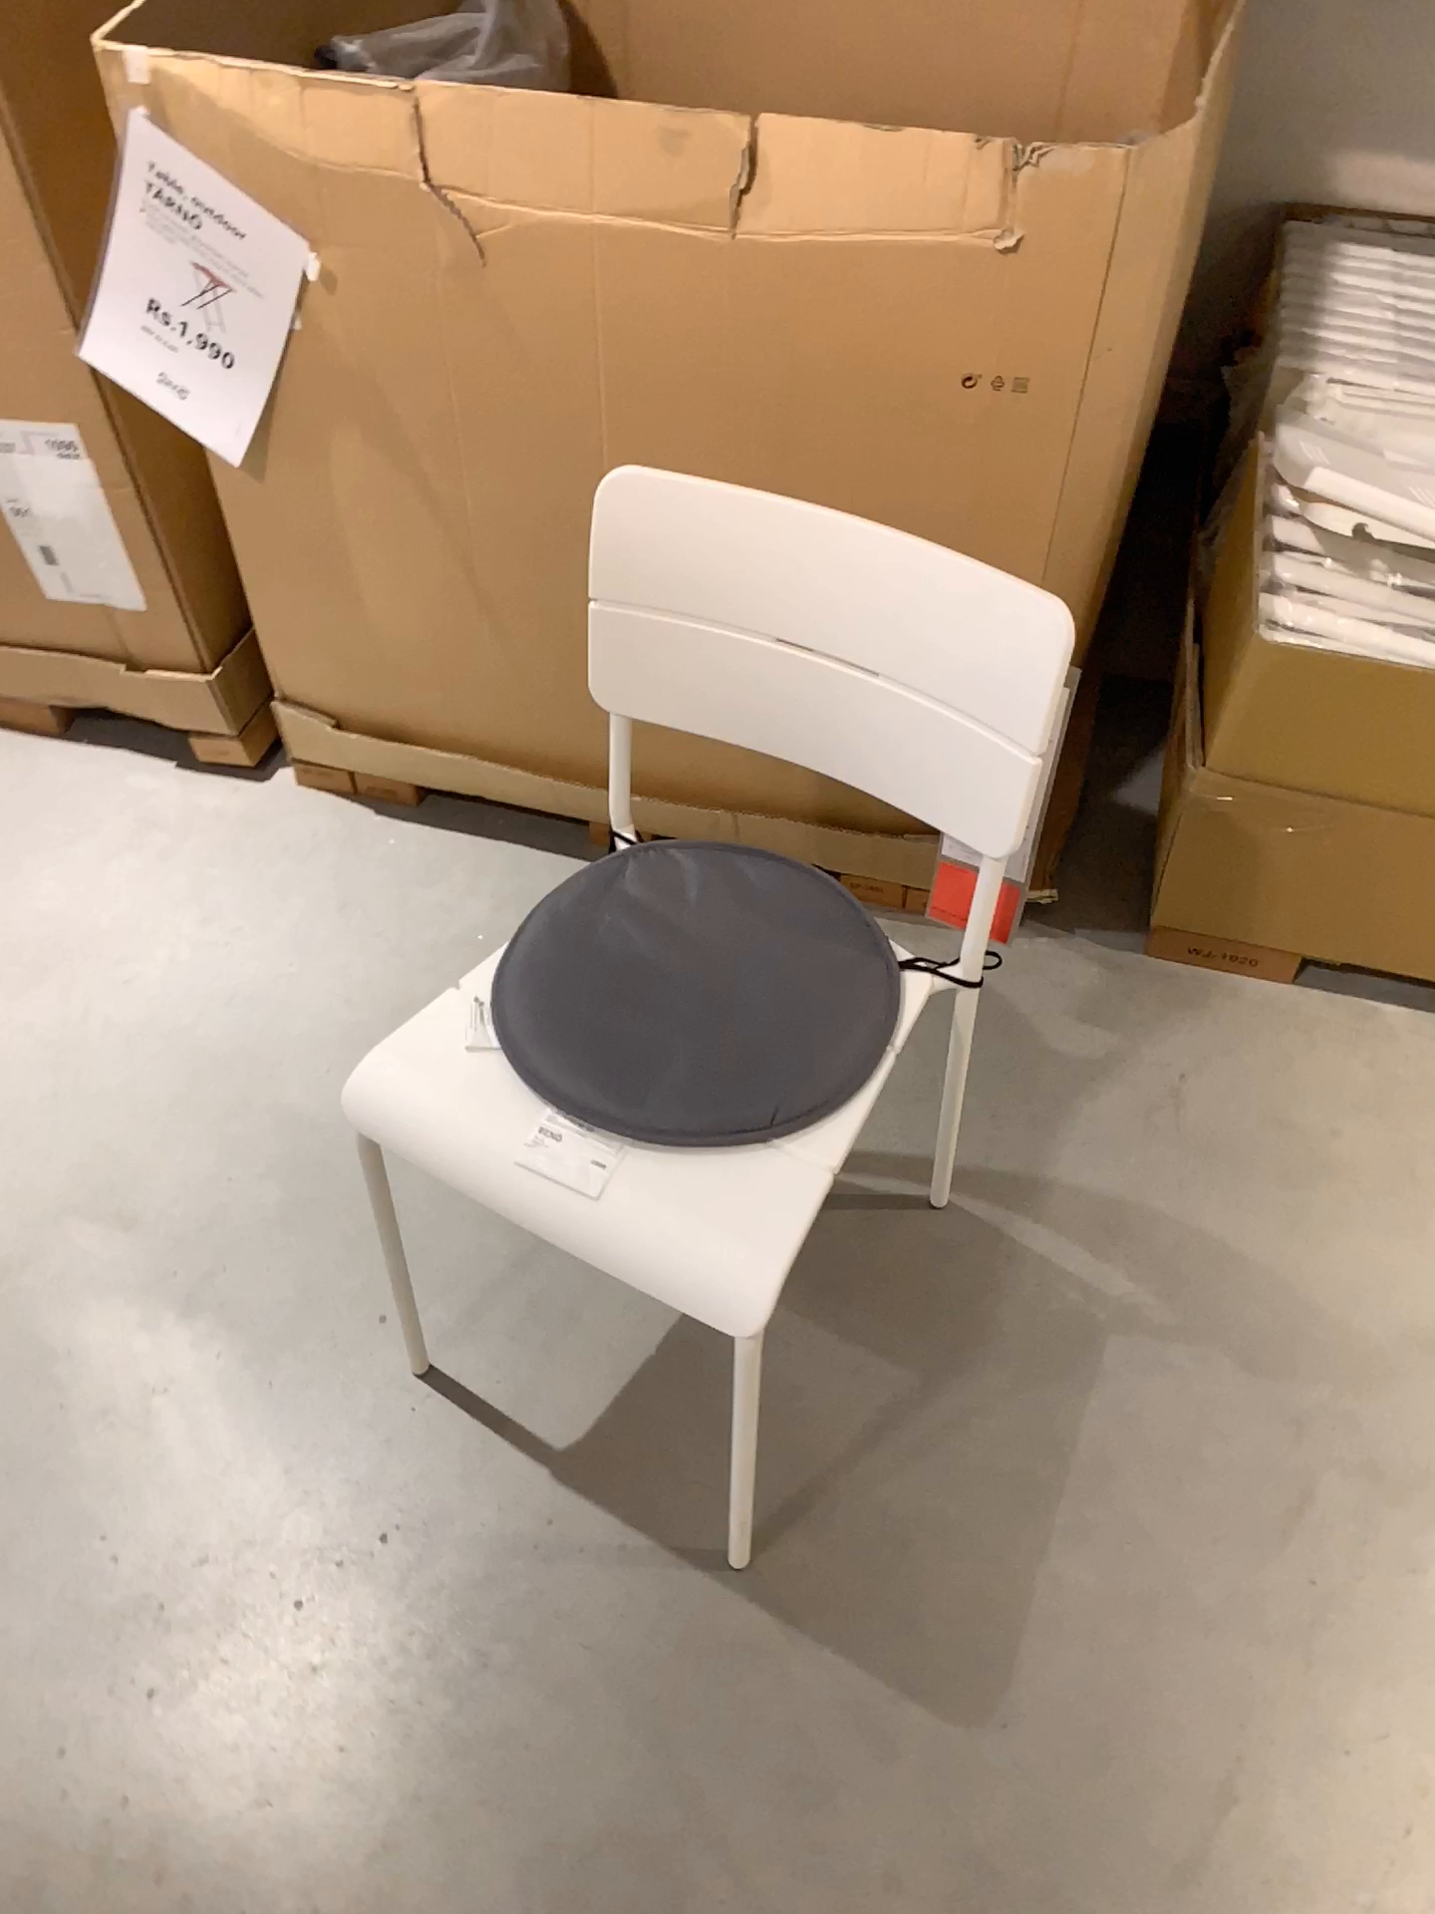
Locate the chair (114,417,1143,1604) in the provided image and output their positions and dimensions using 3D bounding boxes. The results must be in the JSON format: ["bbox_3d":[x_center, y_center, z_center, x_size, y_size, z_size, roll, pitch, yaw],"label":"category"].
[{"bbox_3d":[-0.036,0.059,1.191,0.460,0.718,0.491,24,51,21],"label":"chair"}]
